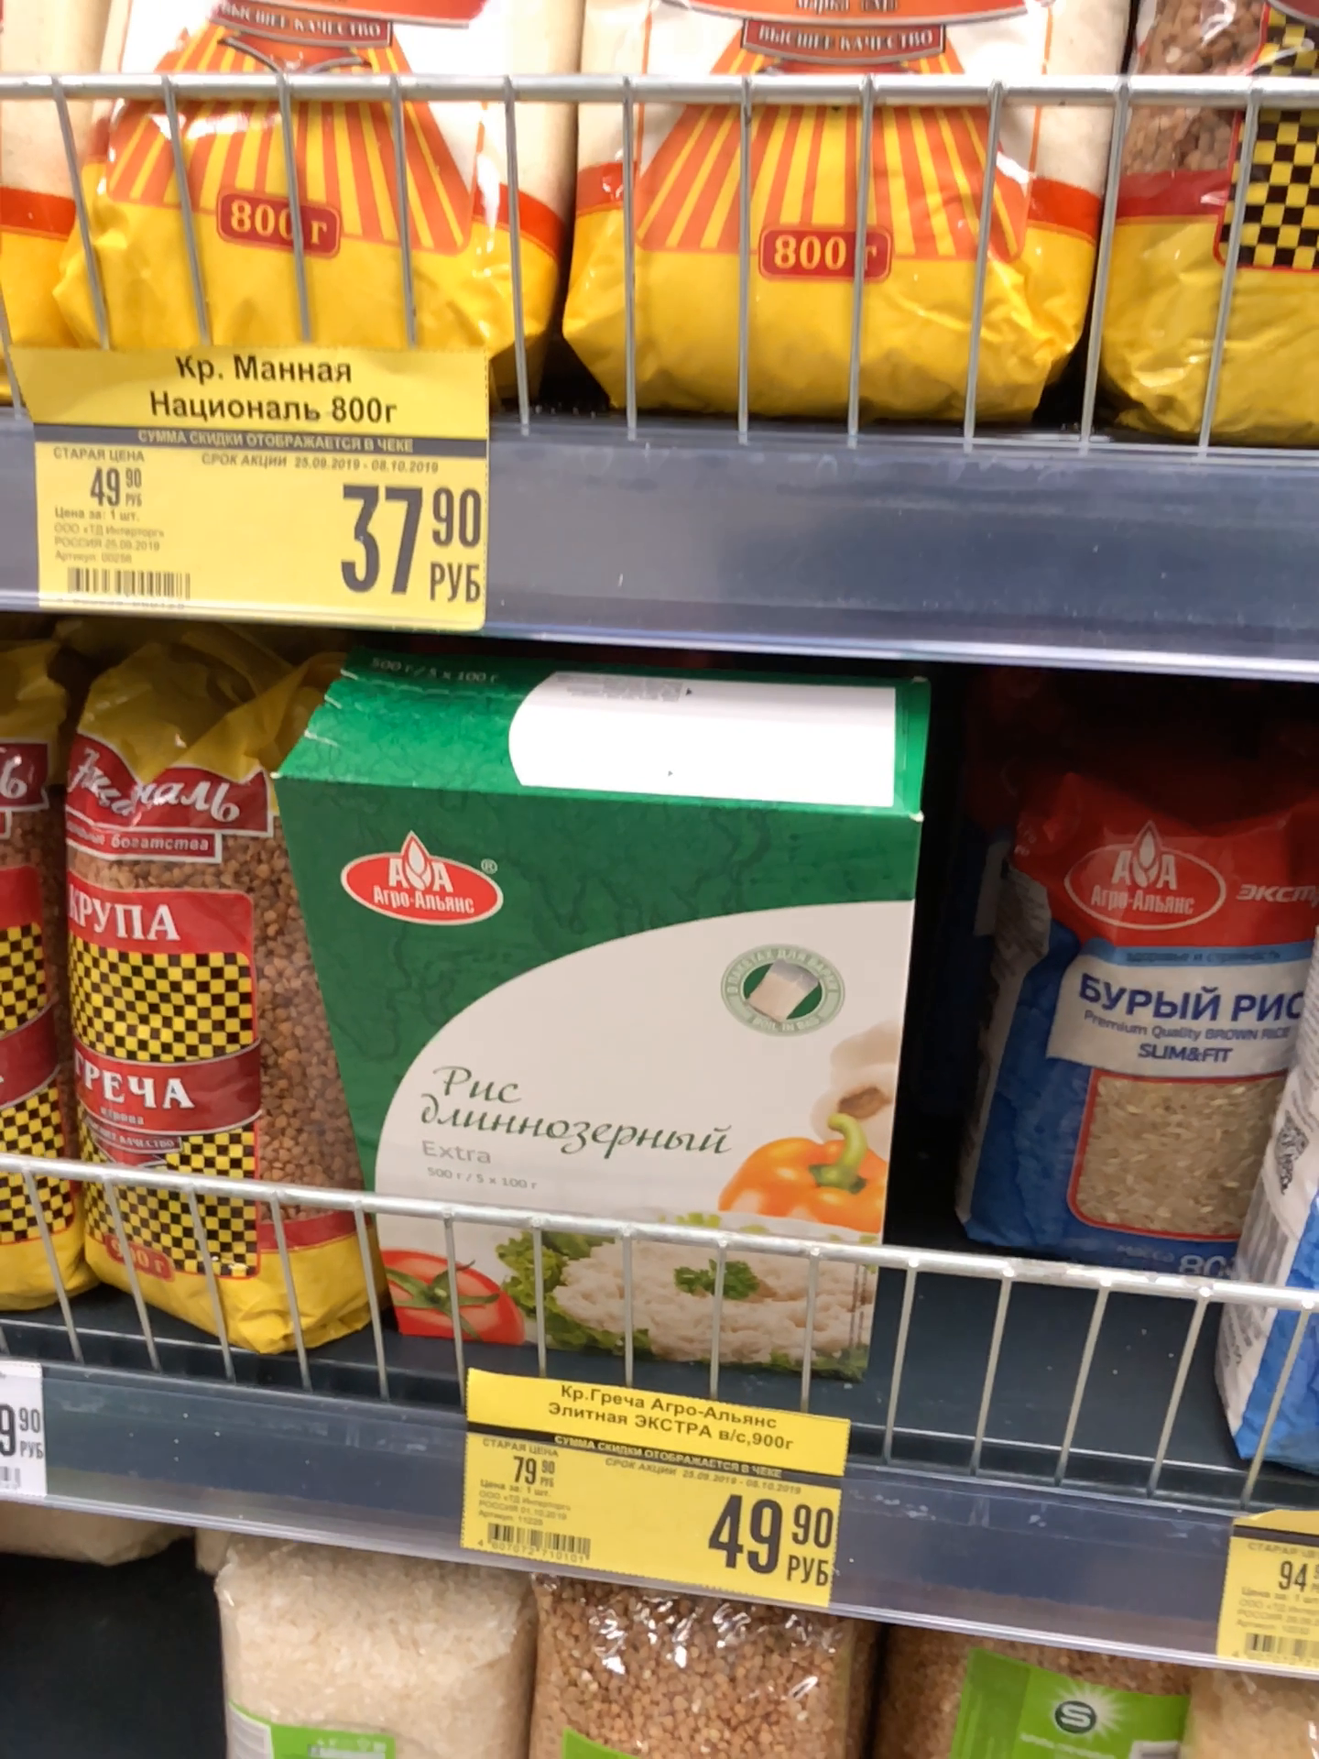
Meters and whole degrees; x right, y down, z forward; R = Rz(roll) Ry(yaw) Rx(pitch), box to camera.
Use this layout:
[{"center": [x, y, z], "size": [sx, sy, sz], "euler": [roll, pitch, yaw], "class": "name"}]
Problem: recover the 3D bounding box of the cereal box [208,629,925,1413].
[{"center": [-0.013, 0.045, 0.367], "size": [0.140, 0.208, 0.050], "euler": [4, 40, 8], "class": "cereal box"}]
